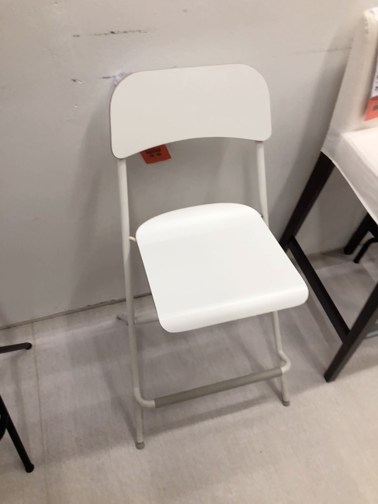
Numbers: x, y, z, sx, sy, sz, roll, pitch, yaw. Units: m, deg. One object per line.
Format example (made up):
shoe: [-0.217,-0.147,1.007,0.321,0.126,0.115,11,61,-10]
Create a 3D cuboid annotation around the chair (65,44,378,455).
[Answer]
chair: [0.067,0.057,1.058,0.530,0.895,0.483,-12,51,-13]
